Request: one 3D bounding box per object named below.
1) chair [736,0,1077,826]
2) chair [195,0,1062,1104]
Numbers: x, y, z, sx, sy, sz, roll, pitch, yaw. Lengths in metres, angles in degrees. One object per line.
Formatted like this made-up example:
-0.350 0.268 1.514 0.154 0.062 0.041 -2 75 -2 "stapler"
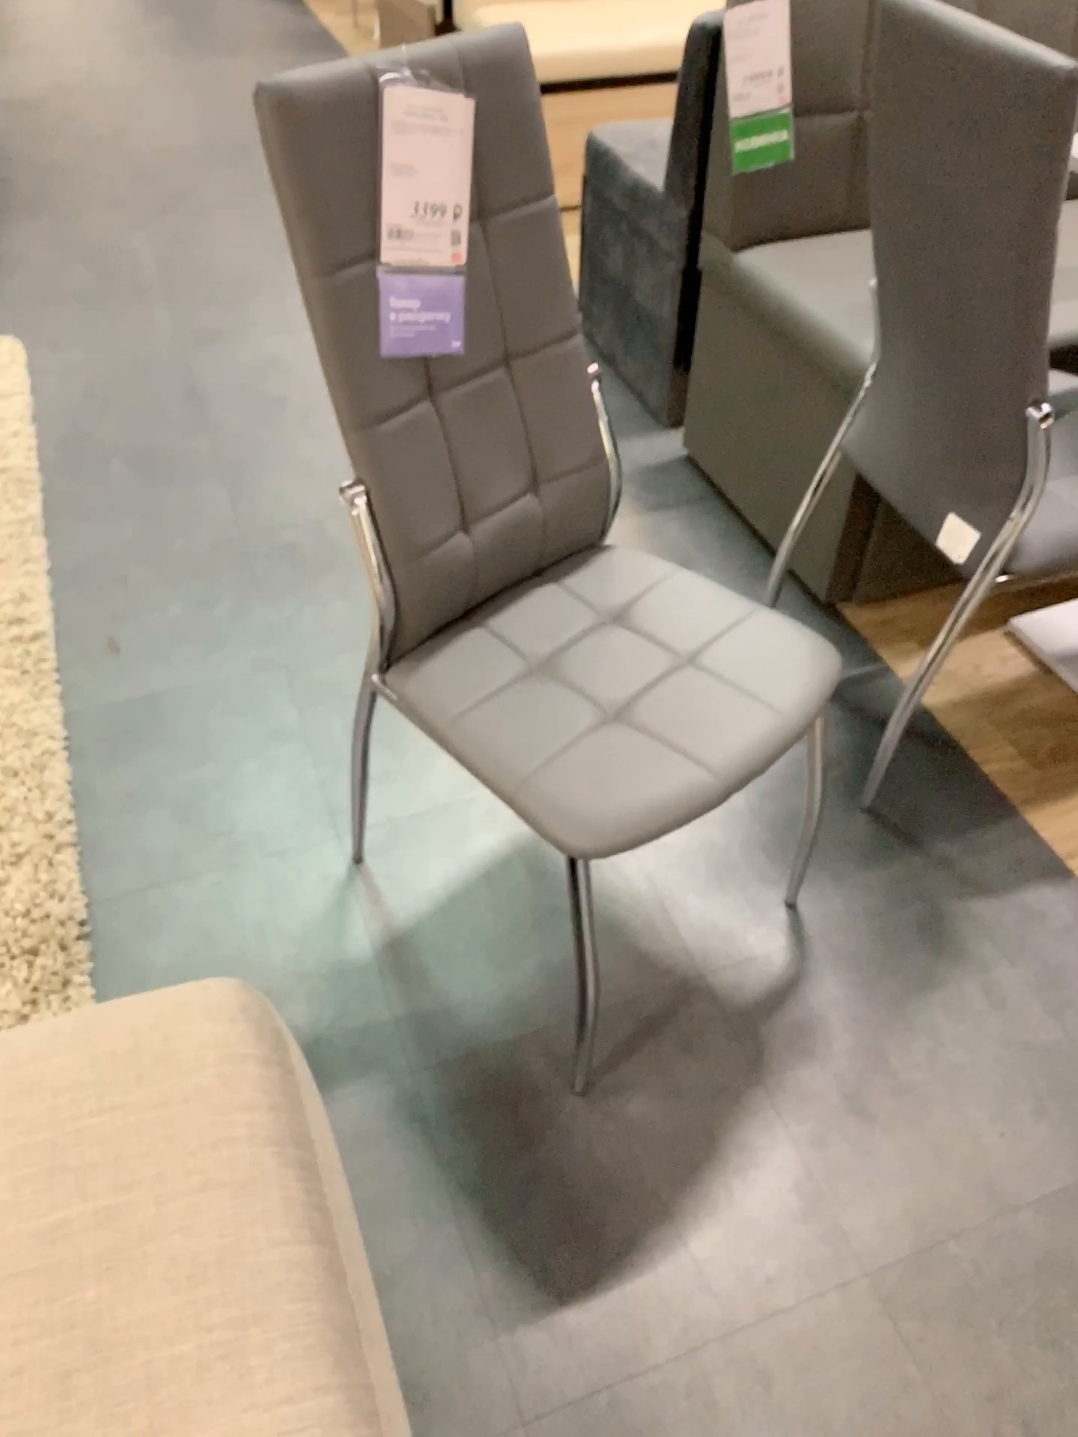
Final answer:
0.700 -0.406 1.591 0.550 1.024 0.452 -12 46 -13 "chair"
0.056 -0.139 1.267 0.471 1.024 0.531 -32 54 -29 "chair"
